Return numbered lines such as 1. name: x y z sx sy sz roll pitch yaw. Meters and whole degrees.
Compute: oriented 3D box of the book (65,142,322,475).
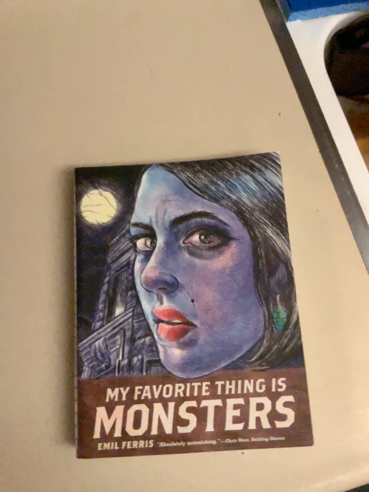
1. book: -0.001 0.047 0.377 0.200 0.040 0.270 -5 77 0
